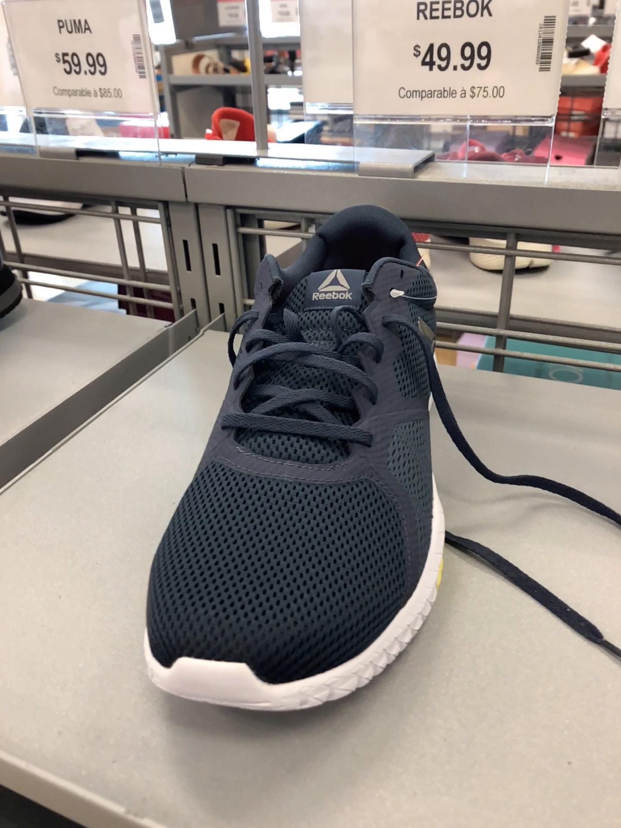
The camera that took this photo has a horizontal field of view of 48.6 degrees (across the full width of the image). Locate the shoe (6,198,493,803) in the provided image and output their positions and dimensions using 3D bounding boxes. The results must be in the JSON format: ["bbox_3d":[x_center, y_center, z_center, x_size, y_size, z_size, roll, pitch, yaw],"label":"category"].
[{"bbox_3d":[0.017,-0.011,0.337,0.120,0.109,0.322,6,31,14],"label":"shoe"}]
